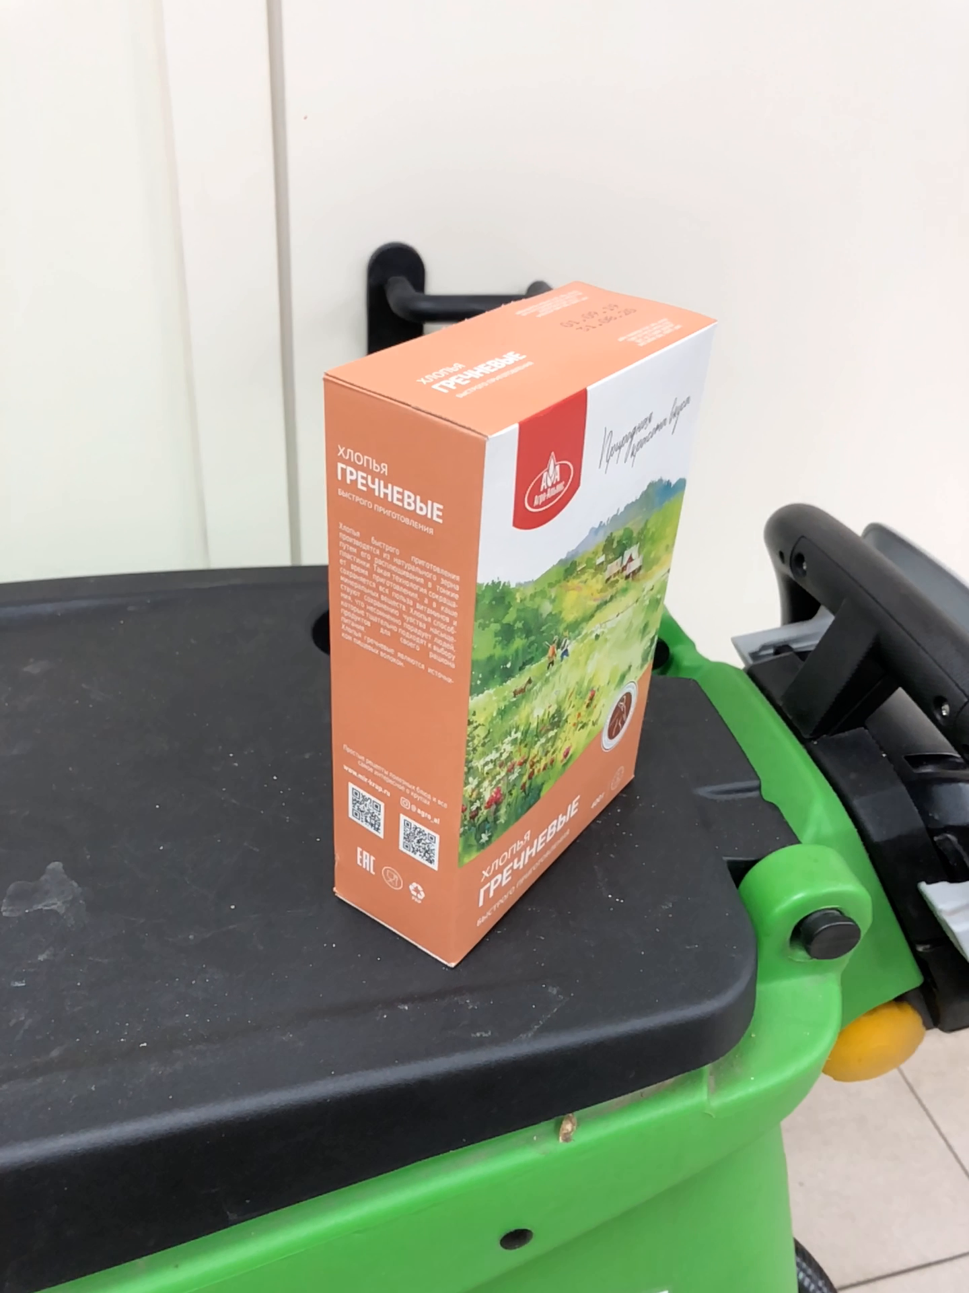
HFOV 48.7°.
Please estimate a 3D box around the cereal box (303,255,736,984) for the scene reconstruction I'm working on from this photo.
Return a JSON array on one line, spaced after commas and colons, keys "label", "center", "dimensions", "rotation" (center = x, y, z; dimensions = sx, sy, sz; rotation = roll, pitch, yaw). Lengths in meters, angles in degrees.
[{"label": "cereal box", "center": [0.009, -0.011, 0.373], "dimensions": [0.060, 0.209, 0.141], "rotation": [25, 38, 26]}]
